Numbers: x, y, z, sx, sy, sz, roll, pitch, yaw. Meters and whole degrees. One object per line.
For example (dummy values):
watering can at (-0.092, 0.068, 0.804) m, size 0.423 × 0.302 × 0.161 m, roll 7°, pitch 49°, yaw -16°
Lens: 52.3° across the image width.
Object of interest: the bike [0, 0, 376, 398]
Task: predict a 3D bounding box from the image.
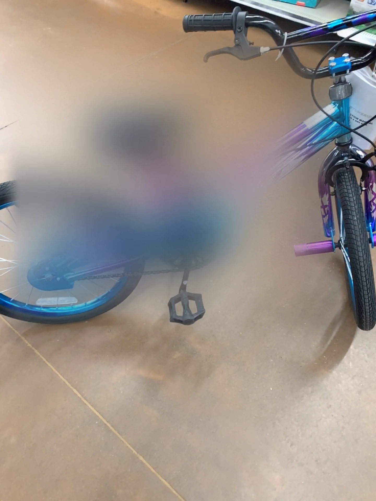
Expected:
bike at (-0.037, -0.278, 0.955) m, size 1.120 × 0.877 × 0.622 m, roll -12°, pitch 53°, yaw -13°
